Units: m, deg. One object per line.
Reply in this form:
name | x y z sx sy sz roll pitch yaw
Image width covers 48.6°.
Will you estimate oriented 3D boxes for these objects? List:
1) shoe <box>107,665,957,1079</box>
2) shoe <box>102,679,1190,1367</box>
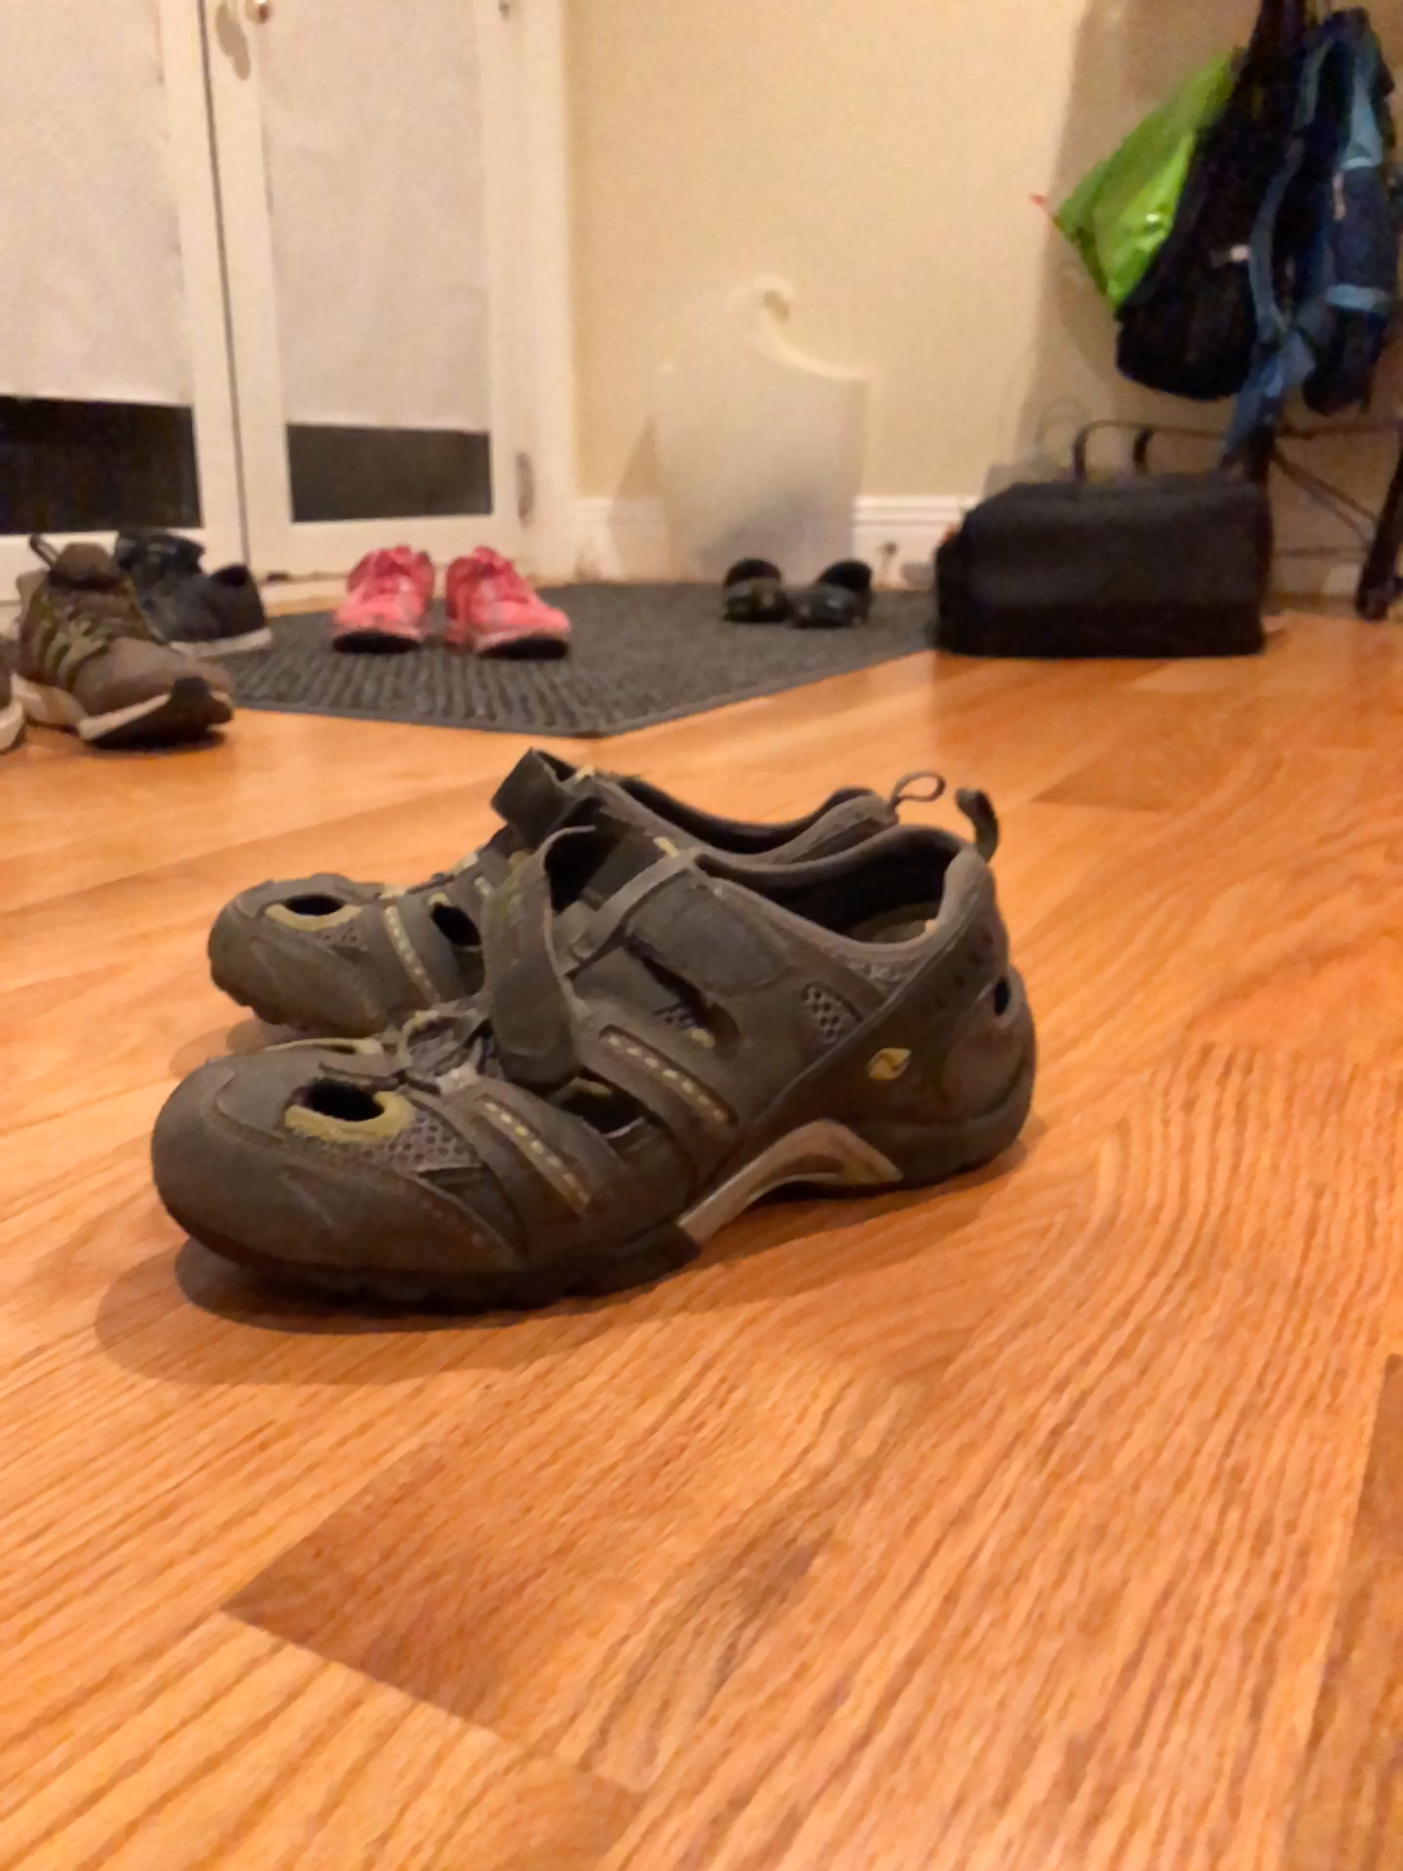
shoe | -0.047 -0.026 0.508 0.245 0.113 0.101 0 15 3
shoe | -0.010 0.004 0.393 0.245 0.113 0.100 -8 17 -26
